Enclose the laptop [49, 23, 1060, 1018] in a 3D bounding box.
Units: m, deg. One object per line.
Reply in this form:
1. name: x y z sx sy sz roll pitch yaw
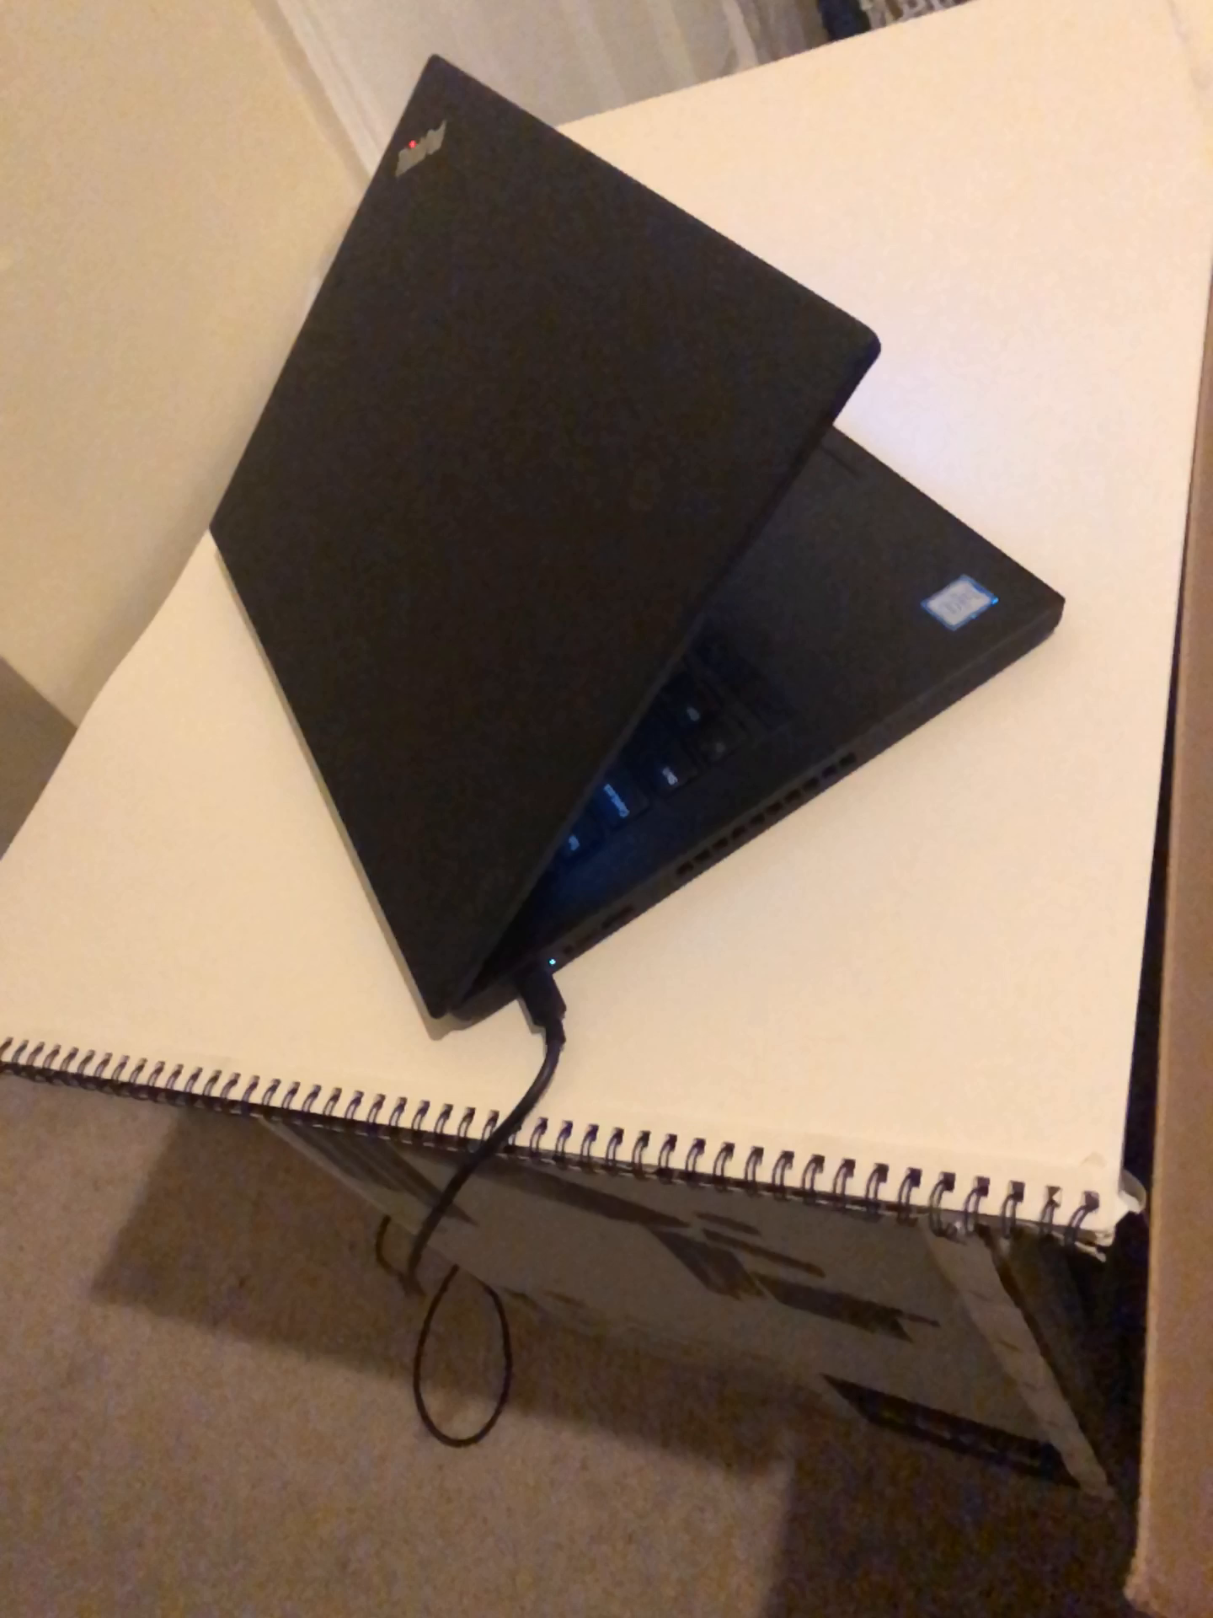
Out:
1. laptop: -0.044 -0.128 0.473 0.226 0.115 0.319 -34 46 0
